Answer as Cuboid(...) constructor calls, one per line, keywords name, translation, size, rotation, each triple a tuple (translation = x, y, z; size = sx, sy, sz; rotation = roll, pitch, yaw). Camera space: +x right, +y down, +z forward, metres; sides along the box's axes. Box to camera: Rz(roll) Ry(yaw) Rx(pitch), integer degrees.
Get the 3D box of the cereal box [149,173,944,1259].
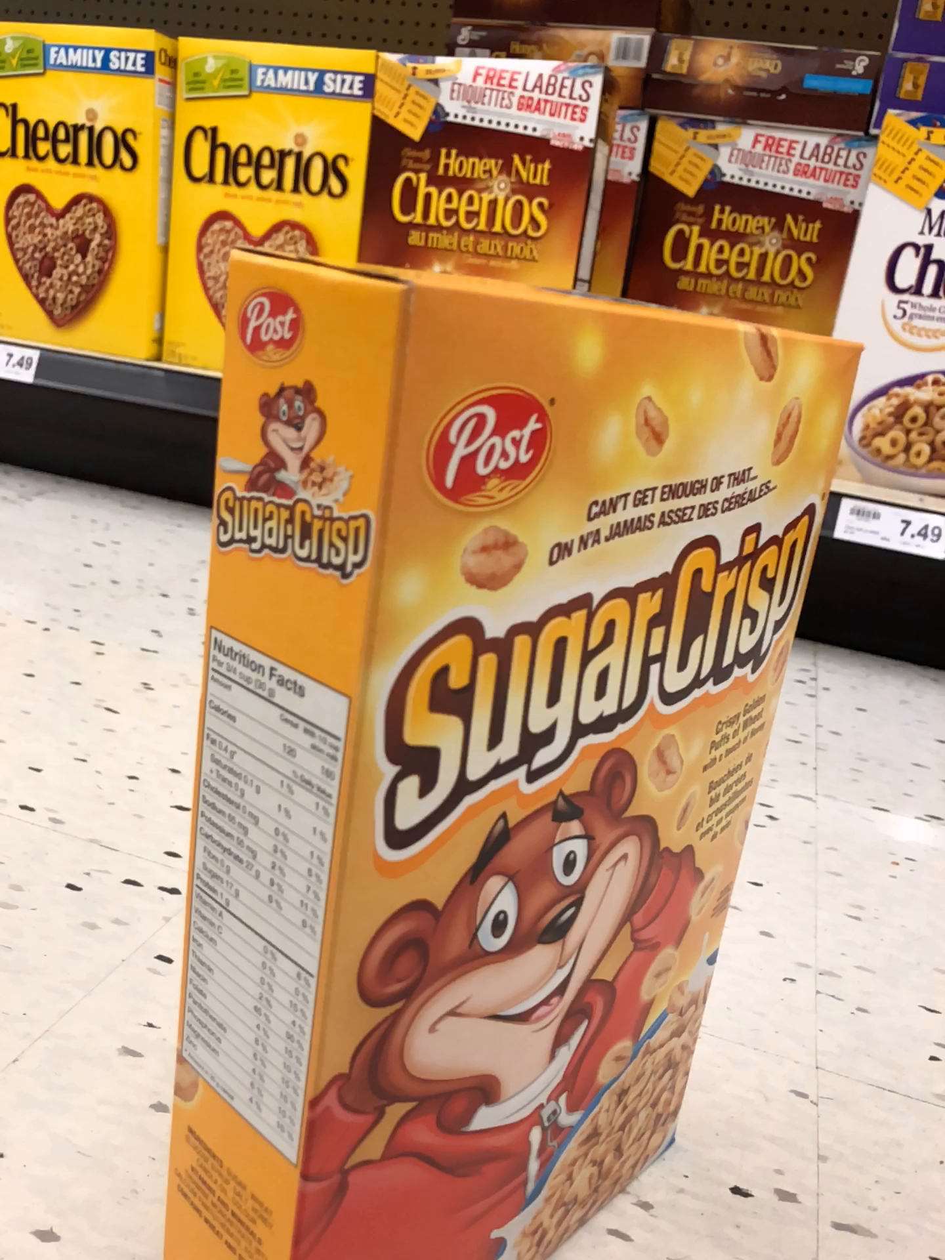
Cuboid(name="cereal box", translation=(0.027, 0.053, 0.292), size=(0.060, 0.299, 0.211), rotation=(22, 22, 38))
